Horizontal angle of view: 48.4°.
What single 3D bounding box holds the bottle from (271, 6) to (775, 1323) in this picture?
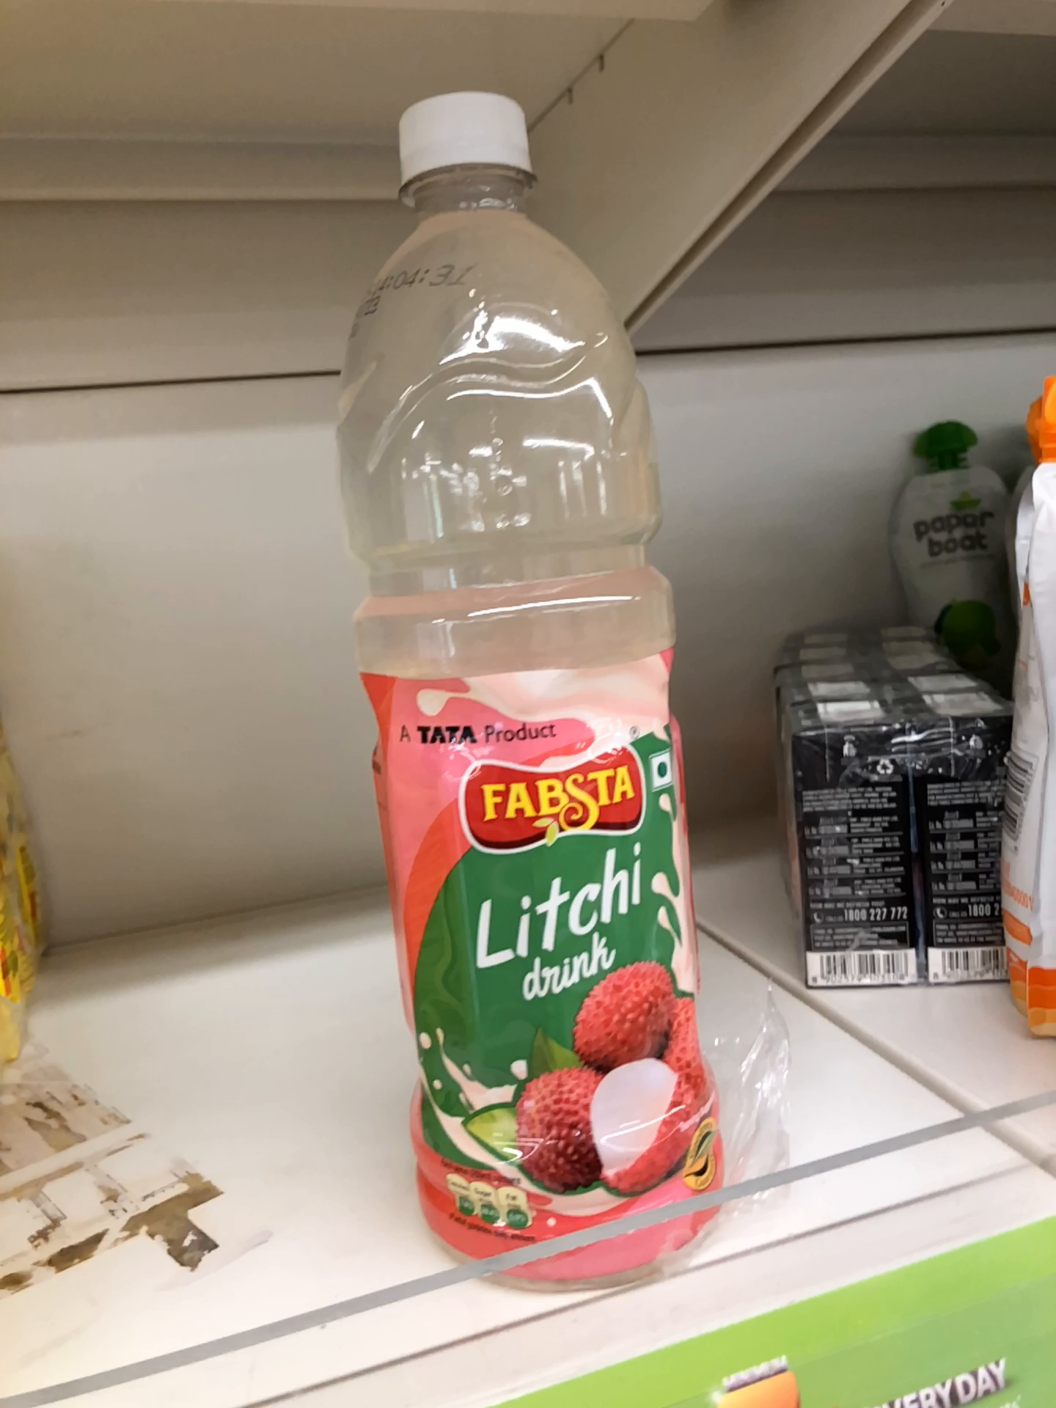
[{"bbox_3d":[0.000,-0.004,0.279,0.080,0.269,0.070,-7,10,-6],"label":"bottle"}]
